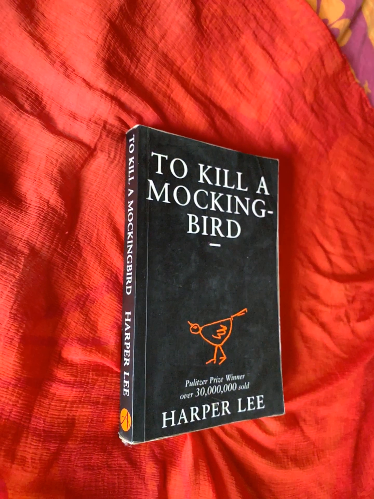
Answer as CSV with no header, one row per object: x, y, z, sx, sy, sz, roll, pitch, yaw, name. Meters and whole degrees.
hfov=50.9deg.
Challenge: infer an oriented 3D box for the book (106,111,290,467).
0.011,0.021,0.248,0.111,0.040,0.180,5,82,-36,book
